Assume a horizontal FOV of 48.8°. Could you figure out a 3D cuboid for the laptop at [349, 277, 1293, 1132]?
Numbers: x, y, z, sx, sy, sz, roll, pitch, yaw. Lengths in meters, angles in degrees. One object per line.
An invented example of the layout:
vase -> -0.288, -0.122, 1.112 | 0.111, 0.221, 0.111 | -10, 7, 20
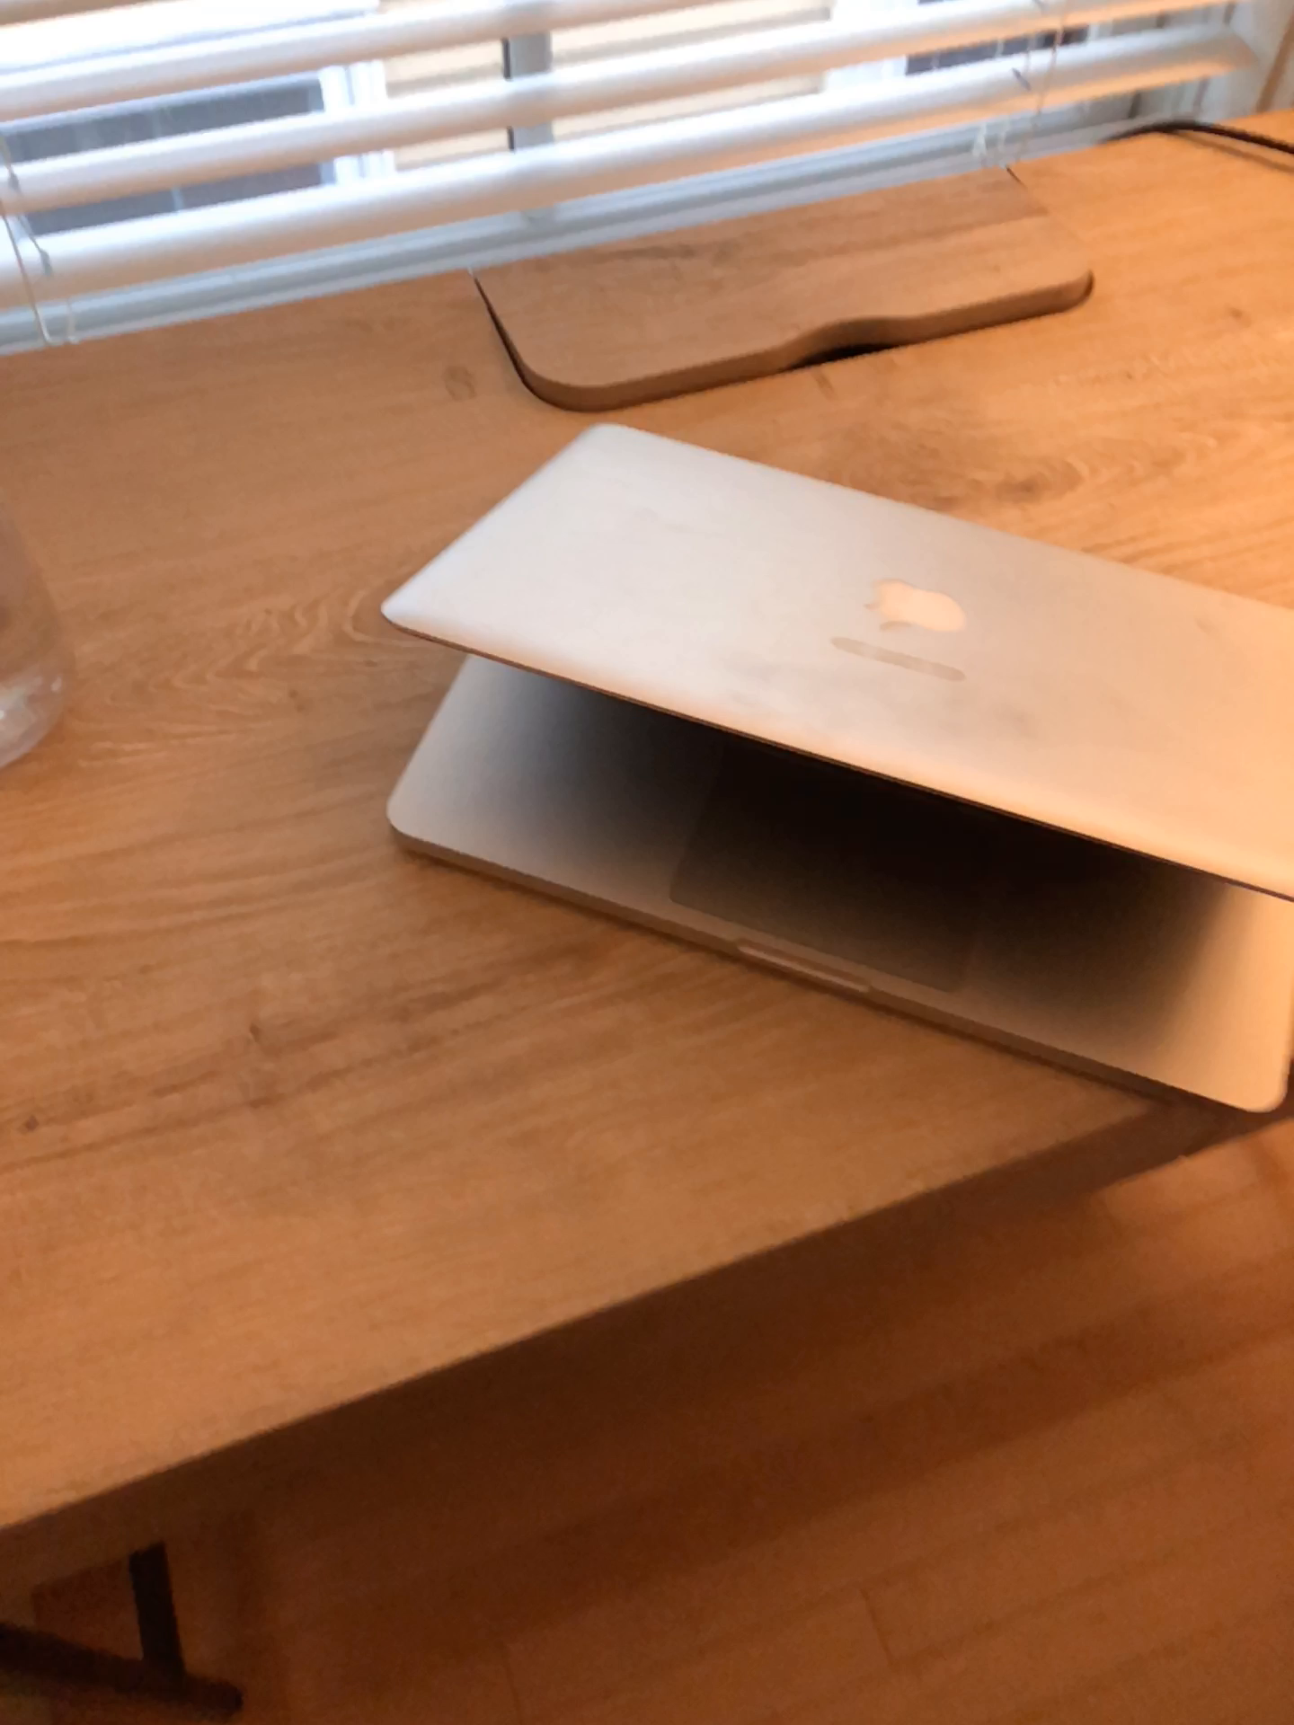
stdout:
laptop -> 0.090, -0.073, 0.524 | 0.318, 0.089, 0.230 | 18, 58, 9
